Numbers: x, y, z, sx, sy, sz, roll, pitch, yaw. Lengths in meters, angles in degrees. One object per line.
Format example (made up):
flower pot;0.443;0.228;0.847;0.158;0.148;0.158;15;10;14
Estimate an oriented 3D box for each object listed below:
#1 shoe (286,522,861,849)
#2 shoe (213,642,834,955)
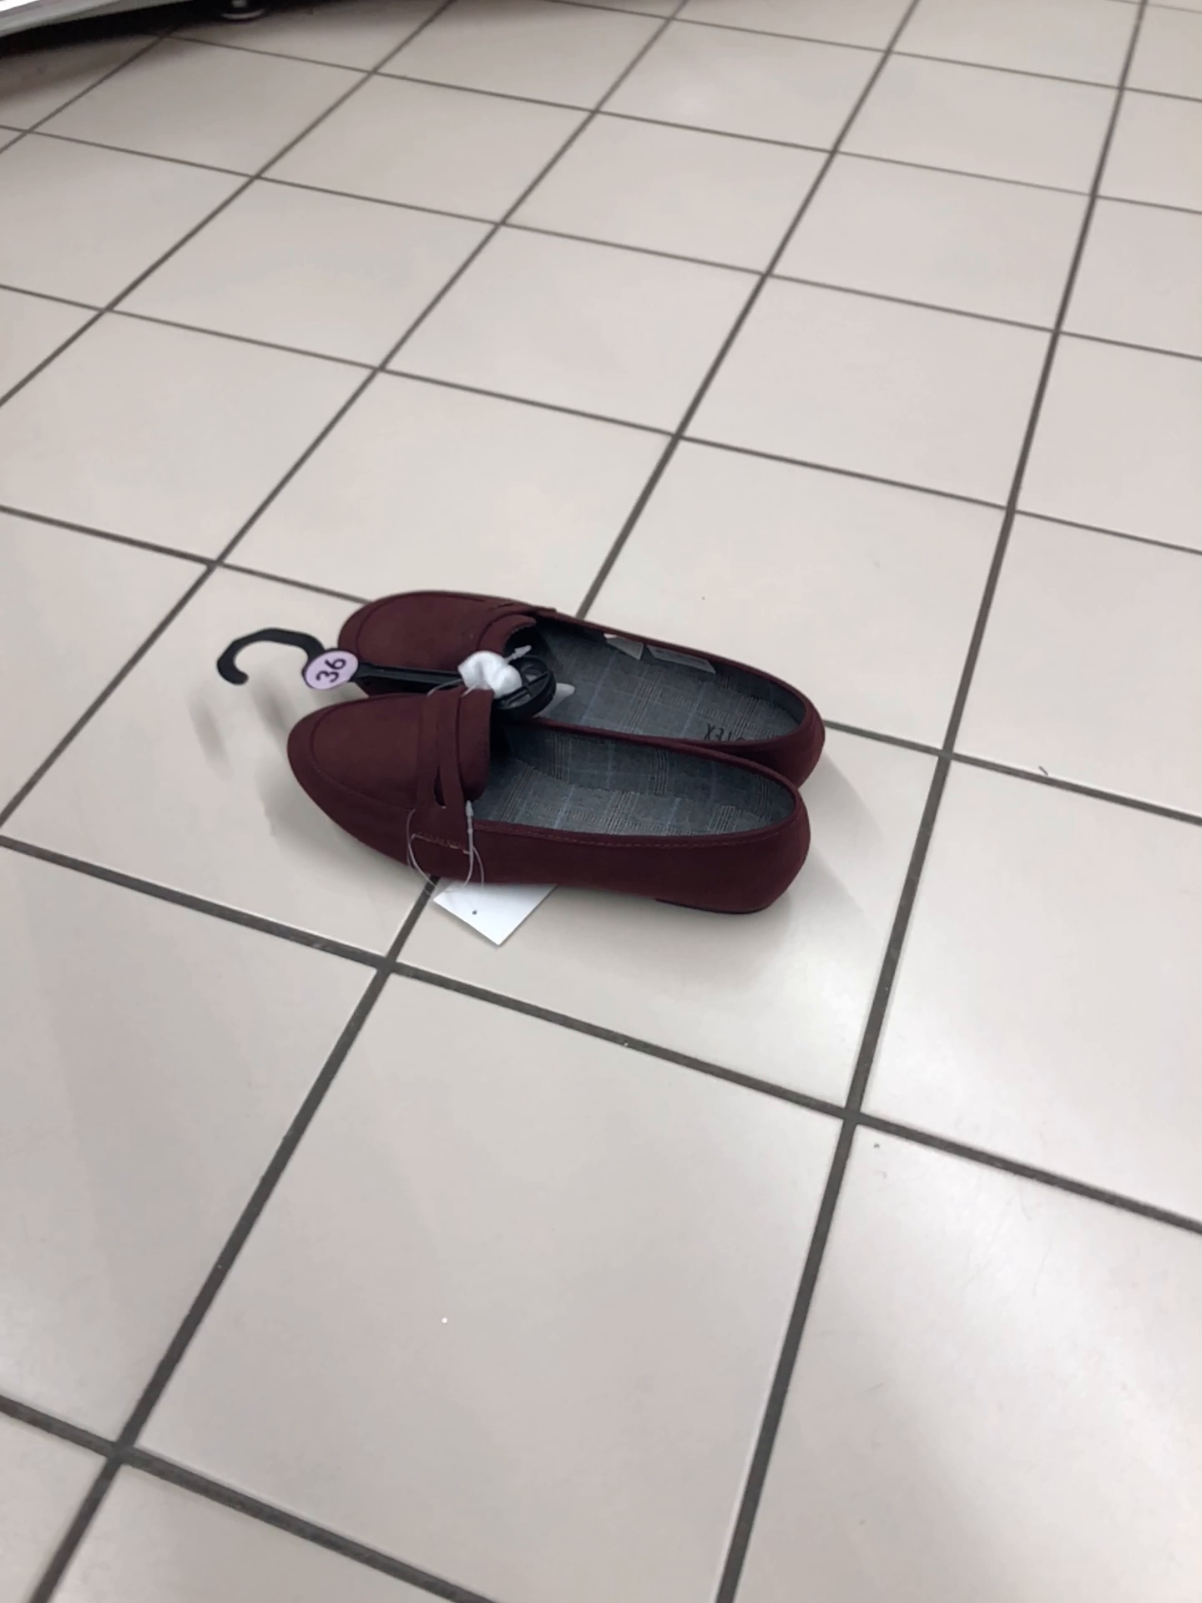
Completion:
shoe;-0.012;-0.056;0.601;0.239;0.057;0.079;15;51;11
shoe;-0.029;-0.003;0.556;0.239;0.056;0.079;9;50;6
